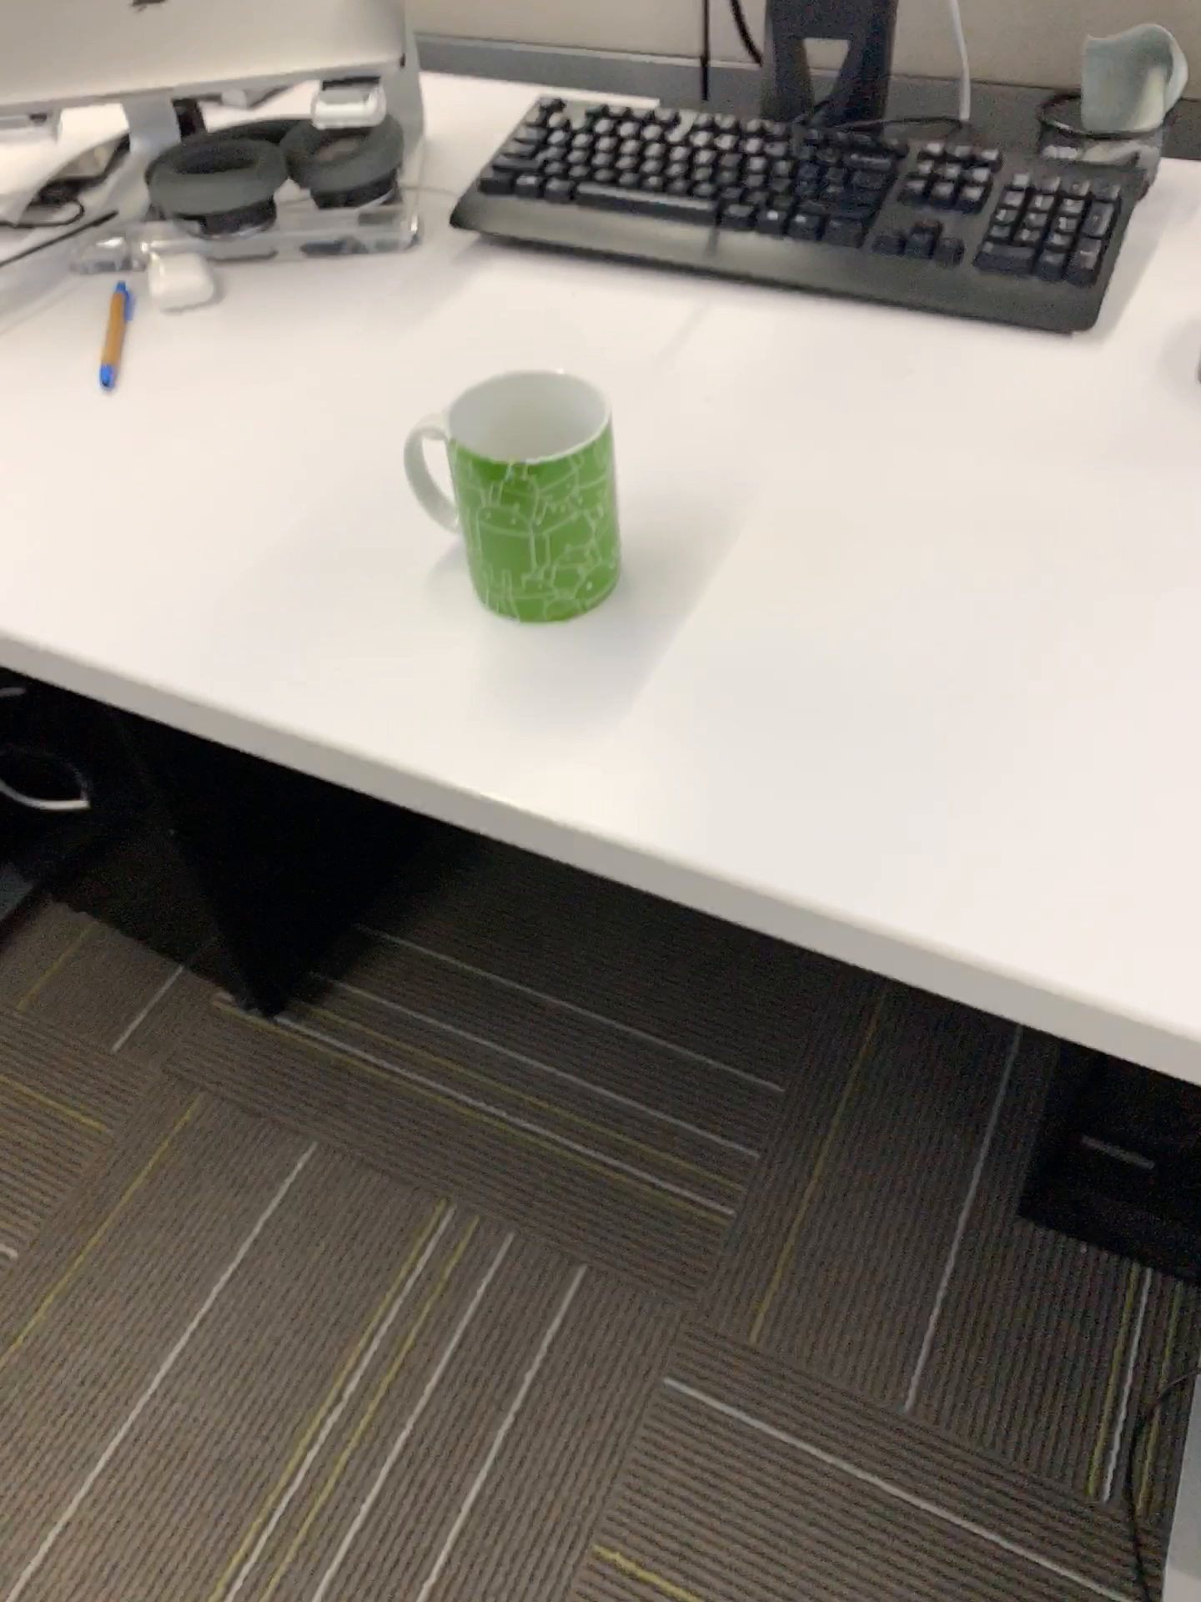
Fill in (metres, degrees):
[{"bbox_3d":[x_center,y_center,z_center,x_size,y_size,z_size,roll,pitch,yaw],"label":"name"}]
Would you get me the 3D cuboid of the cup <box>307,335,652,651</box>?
[{"bbox_3d":[-0.055,-0.153,0.613,0.130,0.090,0.090,21,53,22],"label":"cup"}]
